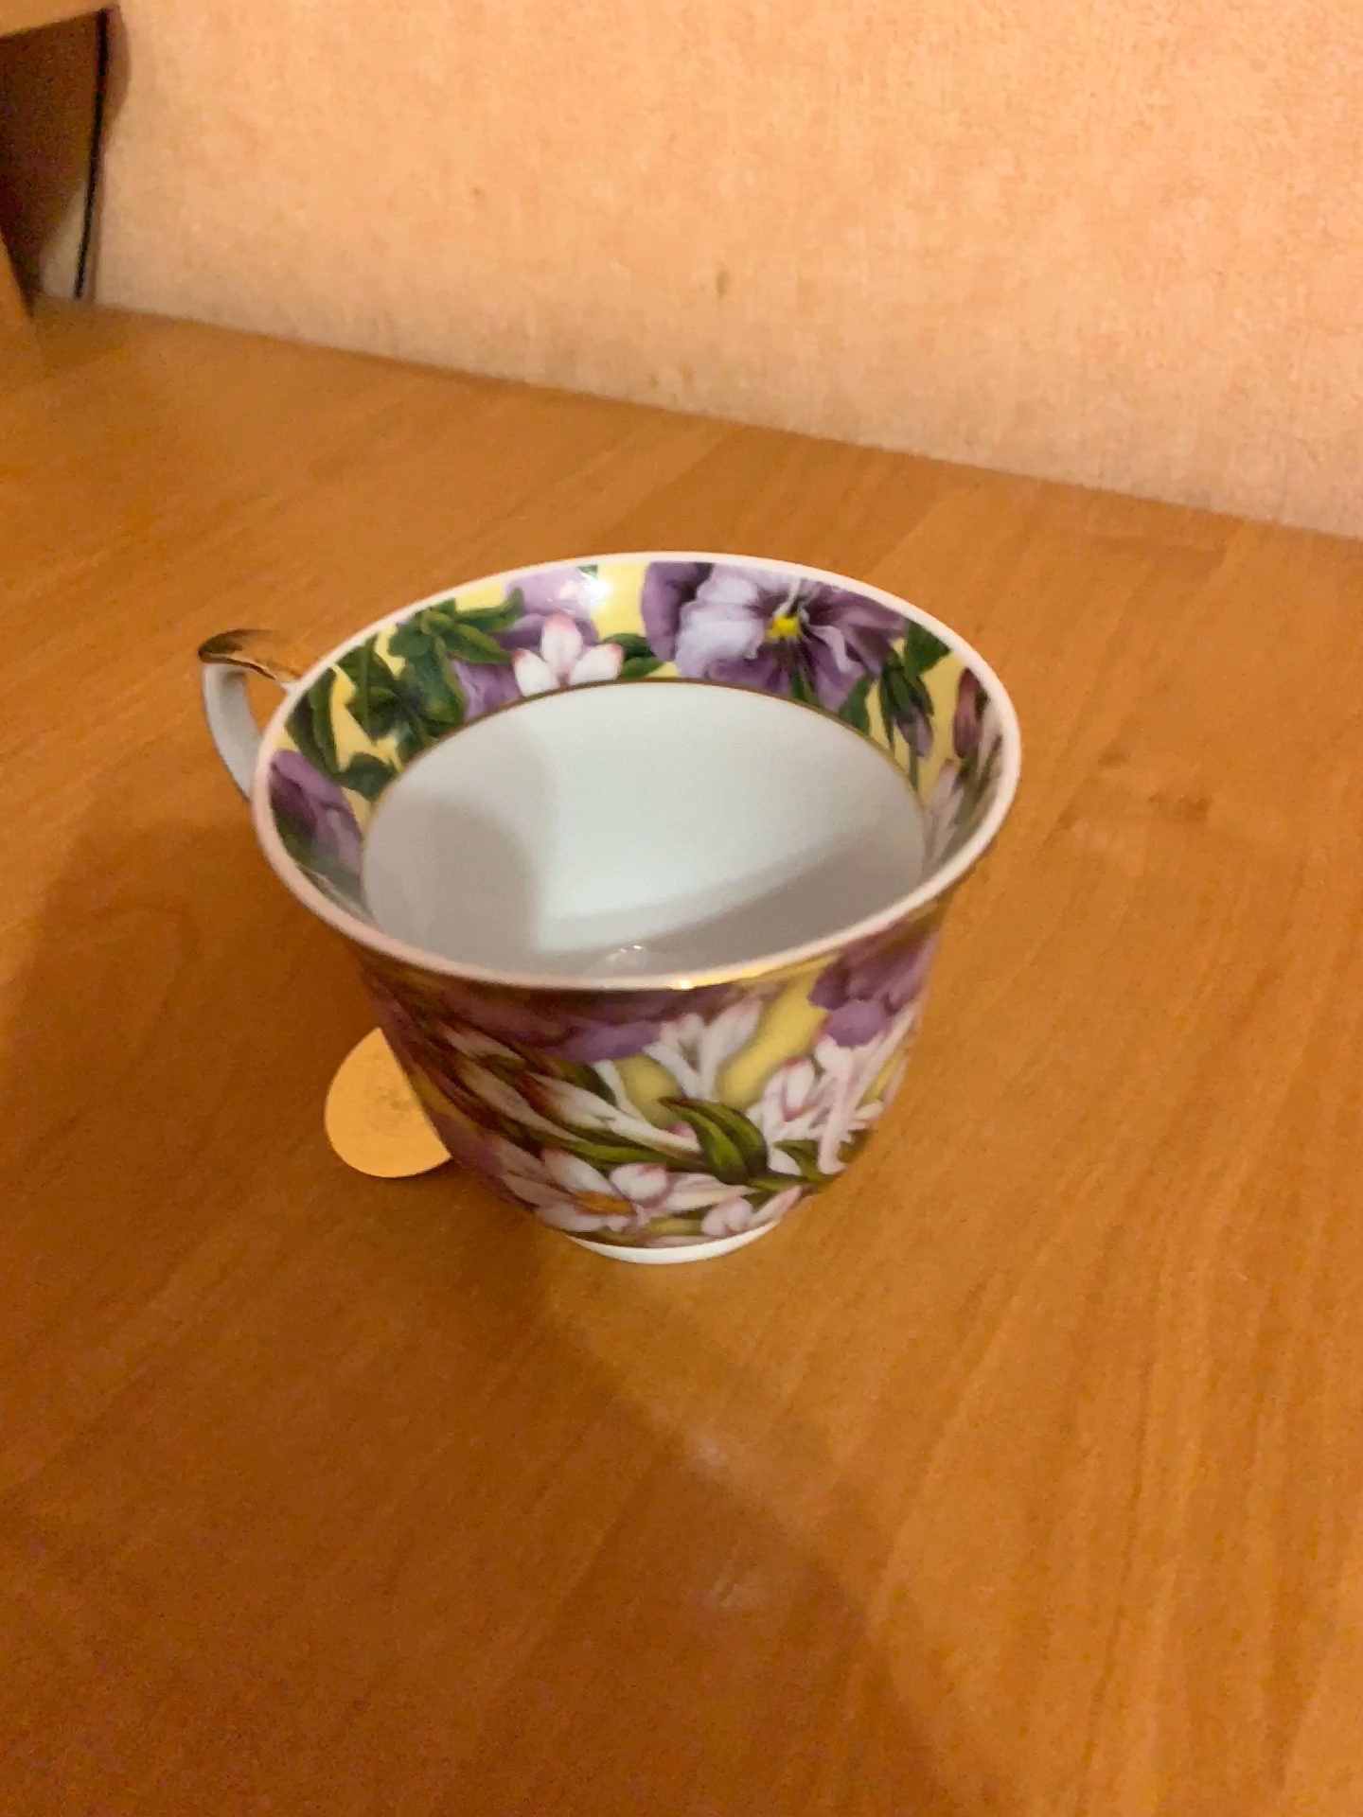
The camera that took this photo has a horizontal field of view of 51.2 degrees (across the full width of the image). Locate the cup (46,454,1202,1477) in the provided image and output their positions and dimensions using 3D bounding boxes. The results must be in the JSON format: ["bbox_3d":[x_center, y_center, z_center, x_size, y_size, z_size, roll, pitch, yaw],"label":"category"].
[{"bbox_3d":[-0.005,-0.002,0.185,0.109,0.069,0.077,21,46,26],"label":"cup"}]
